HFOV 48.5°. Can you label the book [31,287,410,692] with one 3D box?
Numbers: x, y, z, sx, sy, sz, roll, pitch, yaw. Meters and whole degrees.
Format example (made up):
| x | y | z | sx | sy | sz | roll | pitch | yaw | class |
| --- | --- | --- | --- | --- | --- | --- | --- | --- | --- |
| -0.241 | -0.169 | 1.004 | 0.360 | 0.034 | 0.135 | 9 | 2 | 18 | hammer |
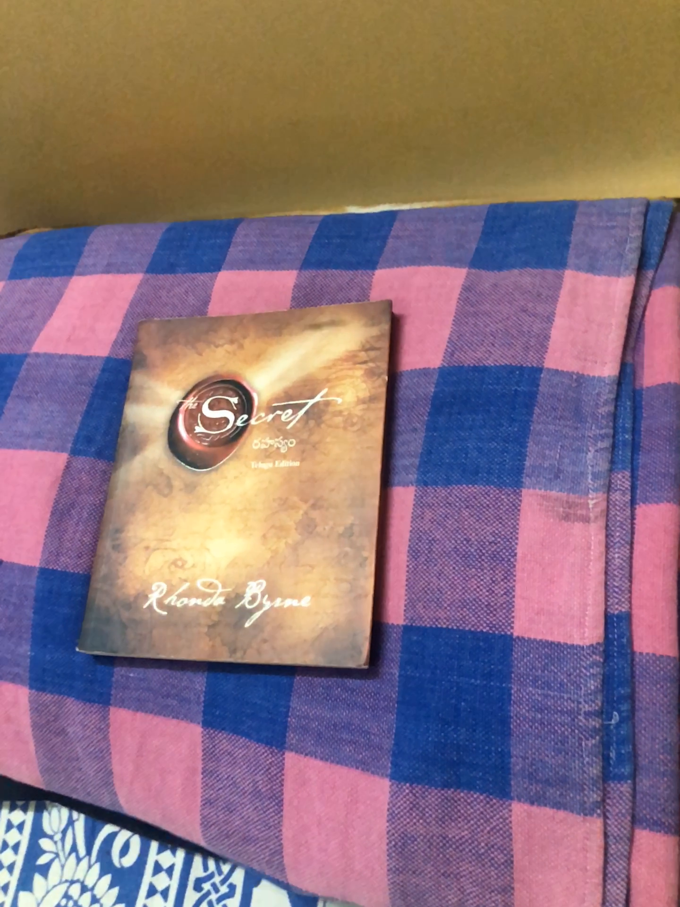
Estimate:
| x | y | z | sx | sy | sz | roll | pitch | yaw | class |
| --- | --- | --- | --- | --- | --- | --- | --- | --- | --- |
| -0.049 | 0.010 | 0.357 | 0.150 | 0.020 | 0.190 | -3 | 60 | 18 | book |
